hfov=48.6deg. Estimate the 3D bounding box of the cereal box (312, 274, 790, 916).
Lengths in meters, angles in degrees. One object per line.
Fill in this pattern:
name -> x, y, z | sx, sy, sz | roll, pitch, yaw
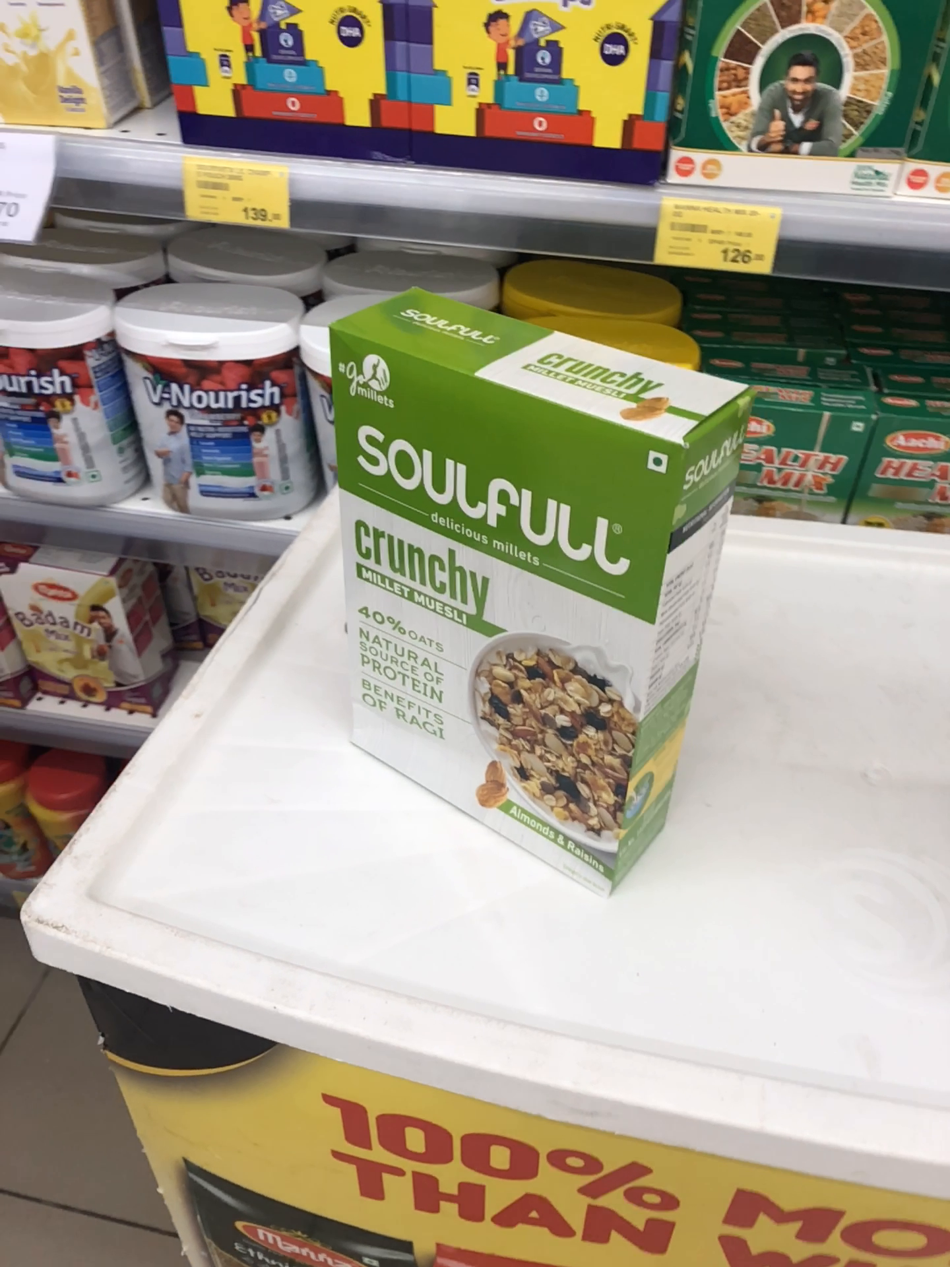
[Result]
cereal box -> 0.027, -0.014, 0.491 | 0.180, 0.249, 0.070 | 26, 47, 30
